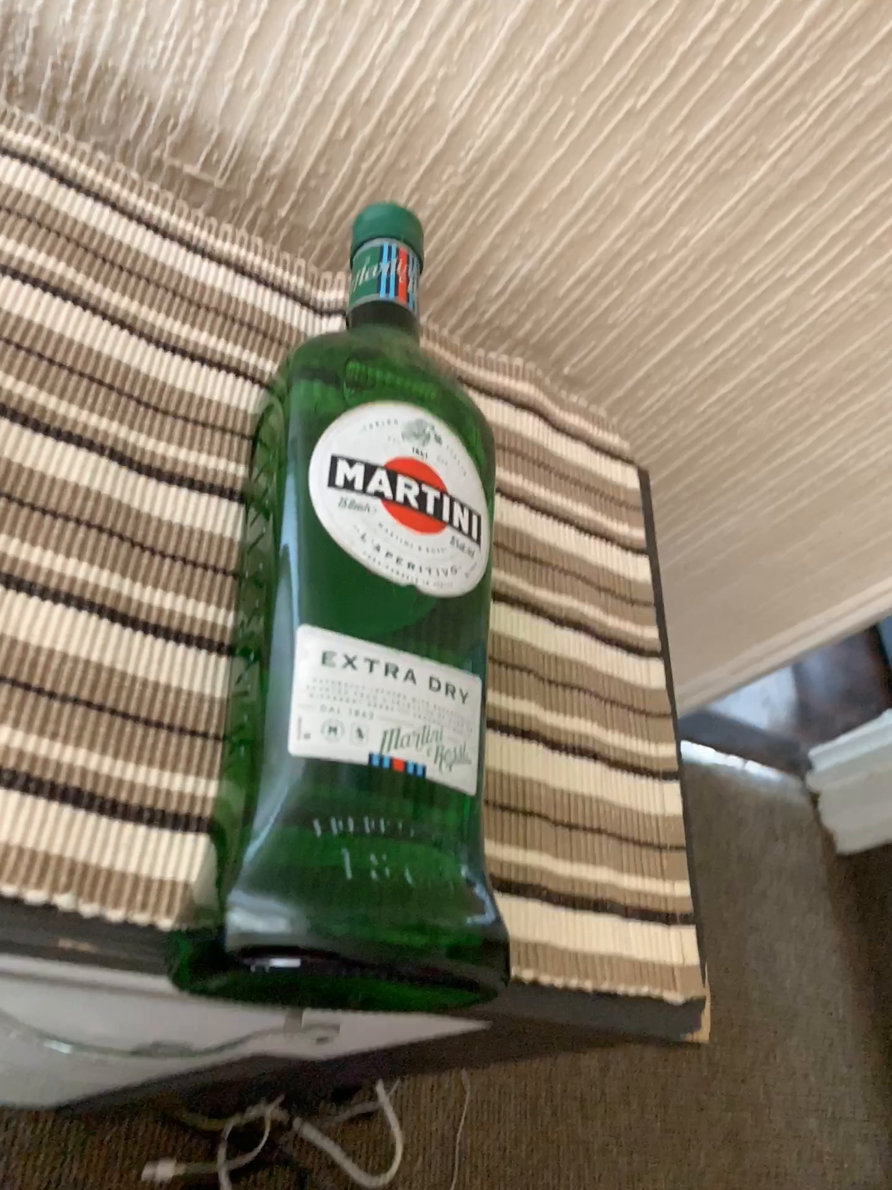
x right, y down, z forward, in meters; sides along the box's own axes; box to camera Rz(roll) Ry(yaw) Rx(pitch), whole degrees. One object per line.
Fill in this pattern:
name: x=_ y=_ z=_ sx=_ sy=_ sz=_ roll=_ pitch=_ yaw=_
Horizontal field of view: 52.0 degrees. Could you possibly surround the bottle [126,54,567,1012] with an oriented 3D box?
bottle: x=-0.020 y=-0.039 z=0.313 sx=0.090 sy=0.069 sz=0.322 roll=19 pitch=56 yaw=-27
